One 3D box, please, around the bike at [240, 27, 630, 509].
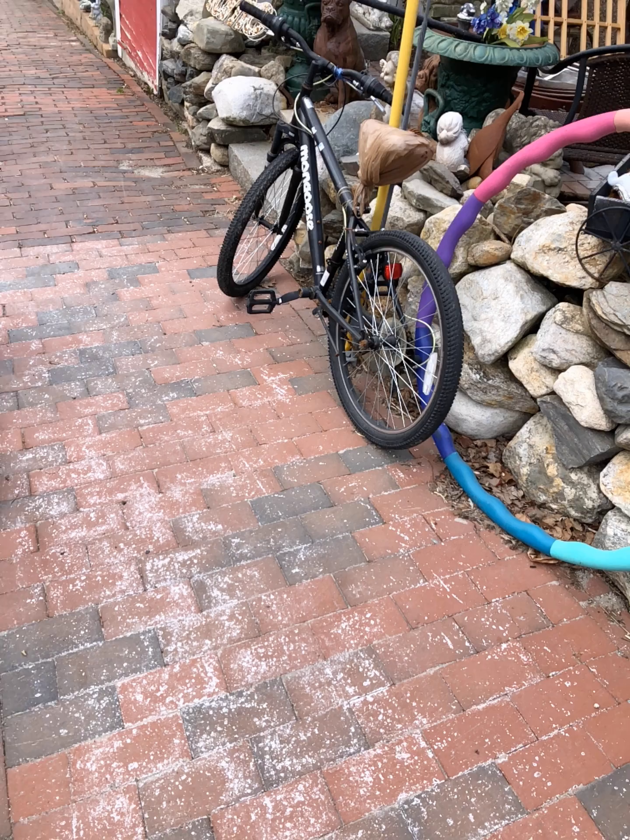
[{"bbox_3d":[0.209,-0.597,2.167,0.633,0.873,1.417,-6,42,-16],"label":"bike"}]
